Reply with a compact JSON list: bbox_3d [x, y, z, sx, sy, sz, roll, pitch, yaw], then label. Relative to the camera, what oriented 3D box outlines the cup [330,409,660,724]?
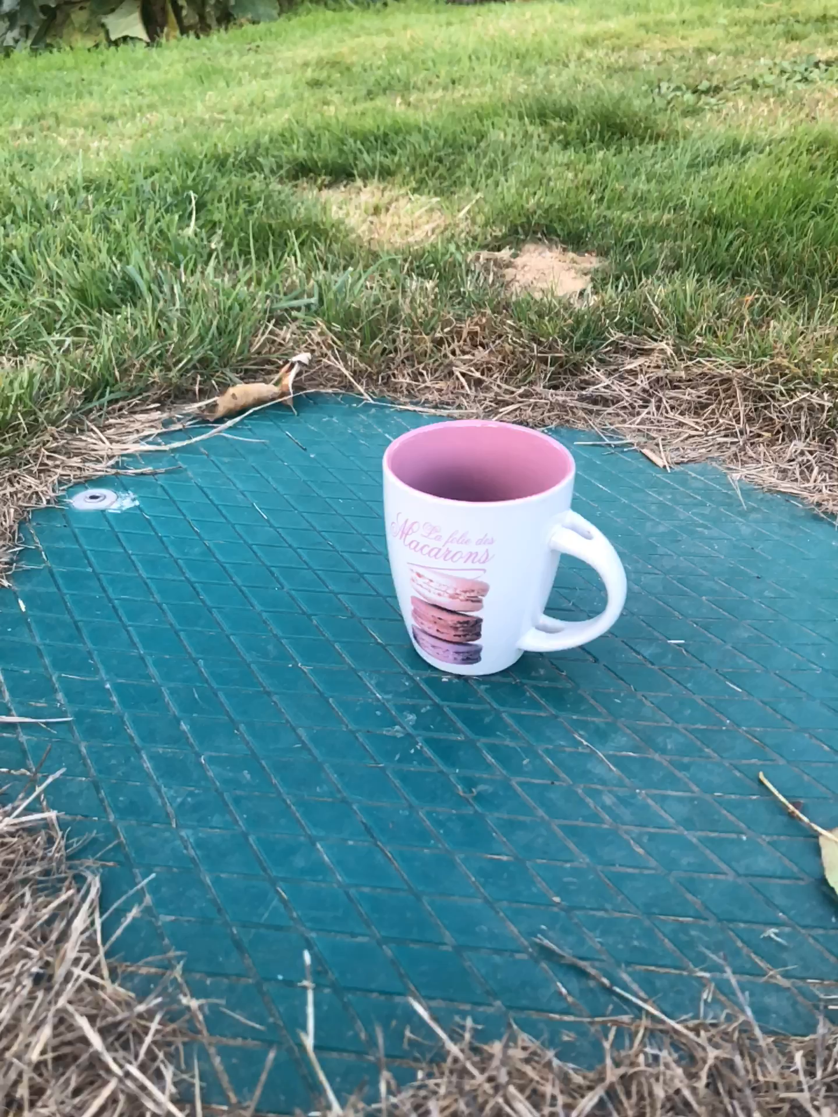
[{"bbox_3d":[0.037,-0.003,0.434,0.120,0.091,0.095,13,33,23],"label":"cup"}]
